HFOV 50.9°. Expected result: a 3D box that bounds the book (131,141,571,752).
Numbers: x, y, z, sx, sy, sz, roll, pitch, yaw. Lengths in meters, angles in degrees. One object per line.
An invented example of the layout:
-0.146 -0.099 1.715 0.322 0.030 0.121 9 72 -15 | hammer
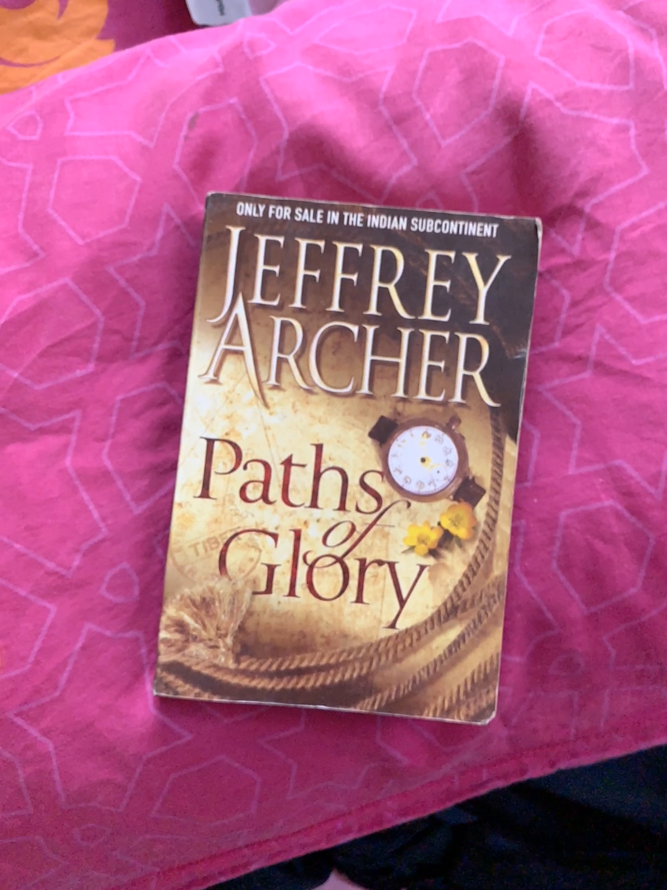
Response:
0.006 -0.002 0.240 0.120 0.040 0.180 6 88 4 | book
